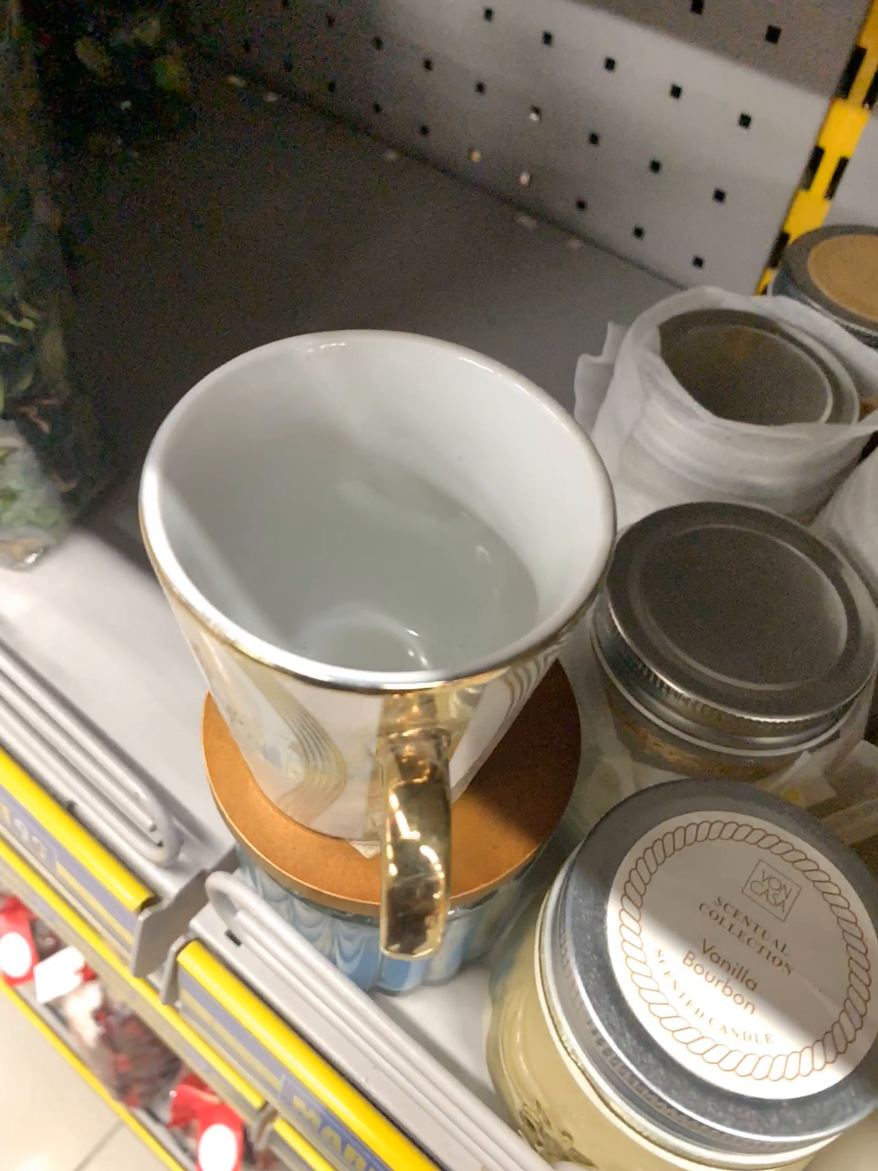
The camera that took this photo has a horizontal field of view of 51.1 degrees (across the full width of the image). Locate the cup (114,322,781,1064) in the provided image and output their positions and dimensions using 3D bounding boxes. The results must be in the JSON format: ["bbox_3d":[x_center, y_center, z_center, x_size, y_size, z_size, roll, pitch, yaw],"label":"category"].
[{"bbox_3d":[-0.006,0.018,0.154,0.070,0.080,0.090,-3,52,-8],"label":"cup"}]
